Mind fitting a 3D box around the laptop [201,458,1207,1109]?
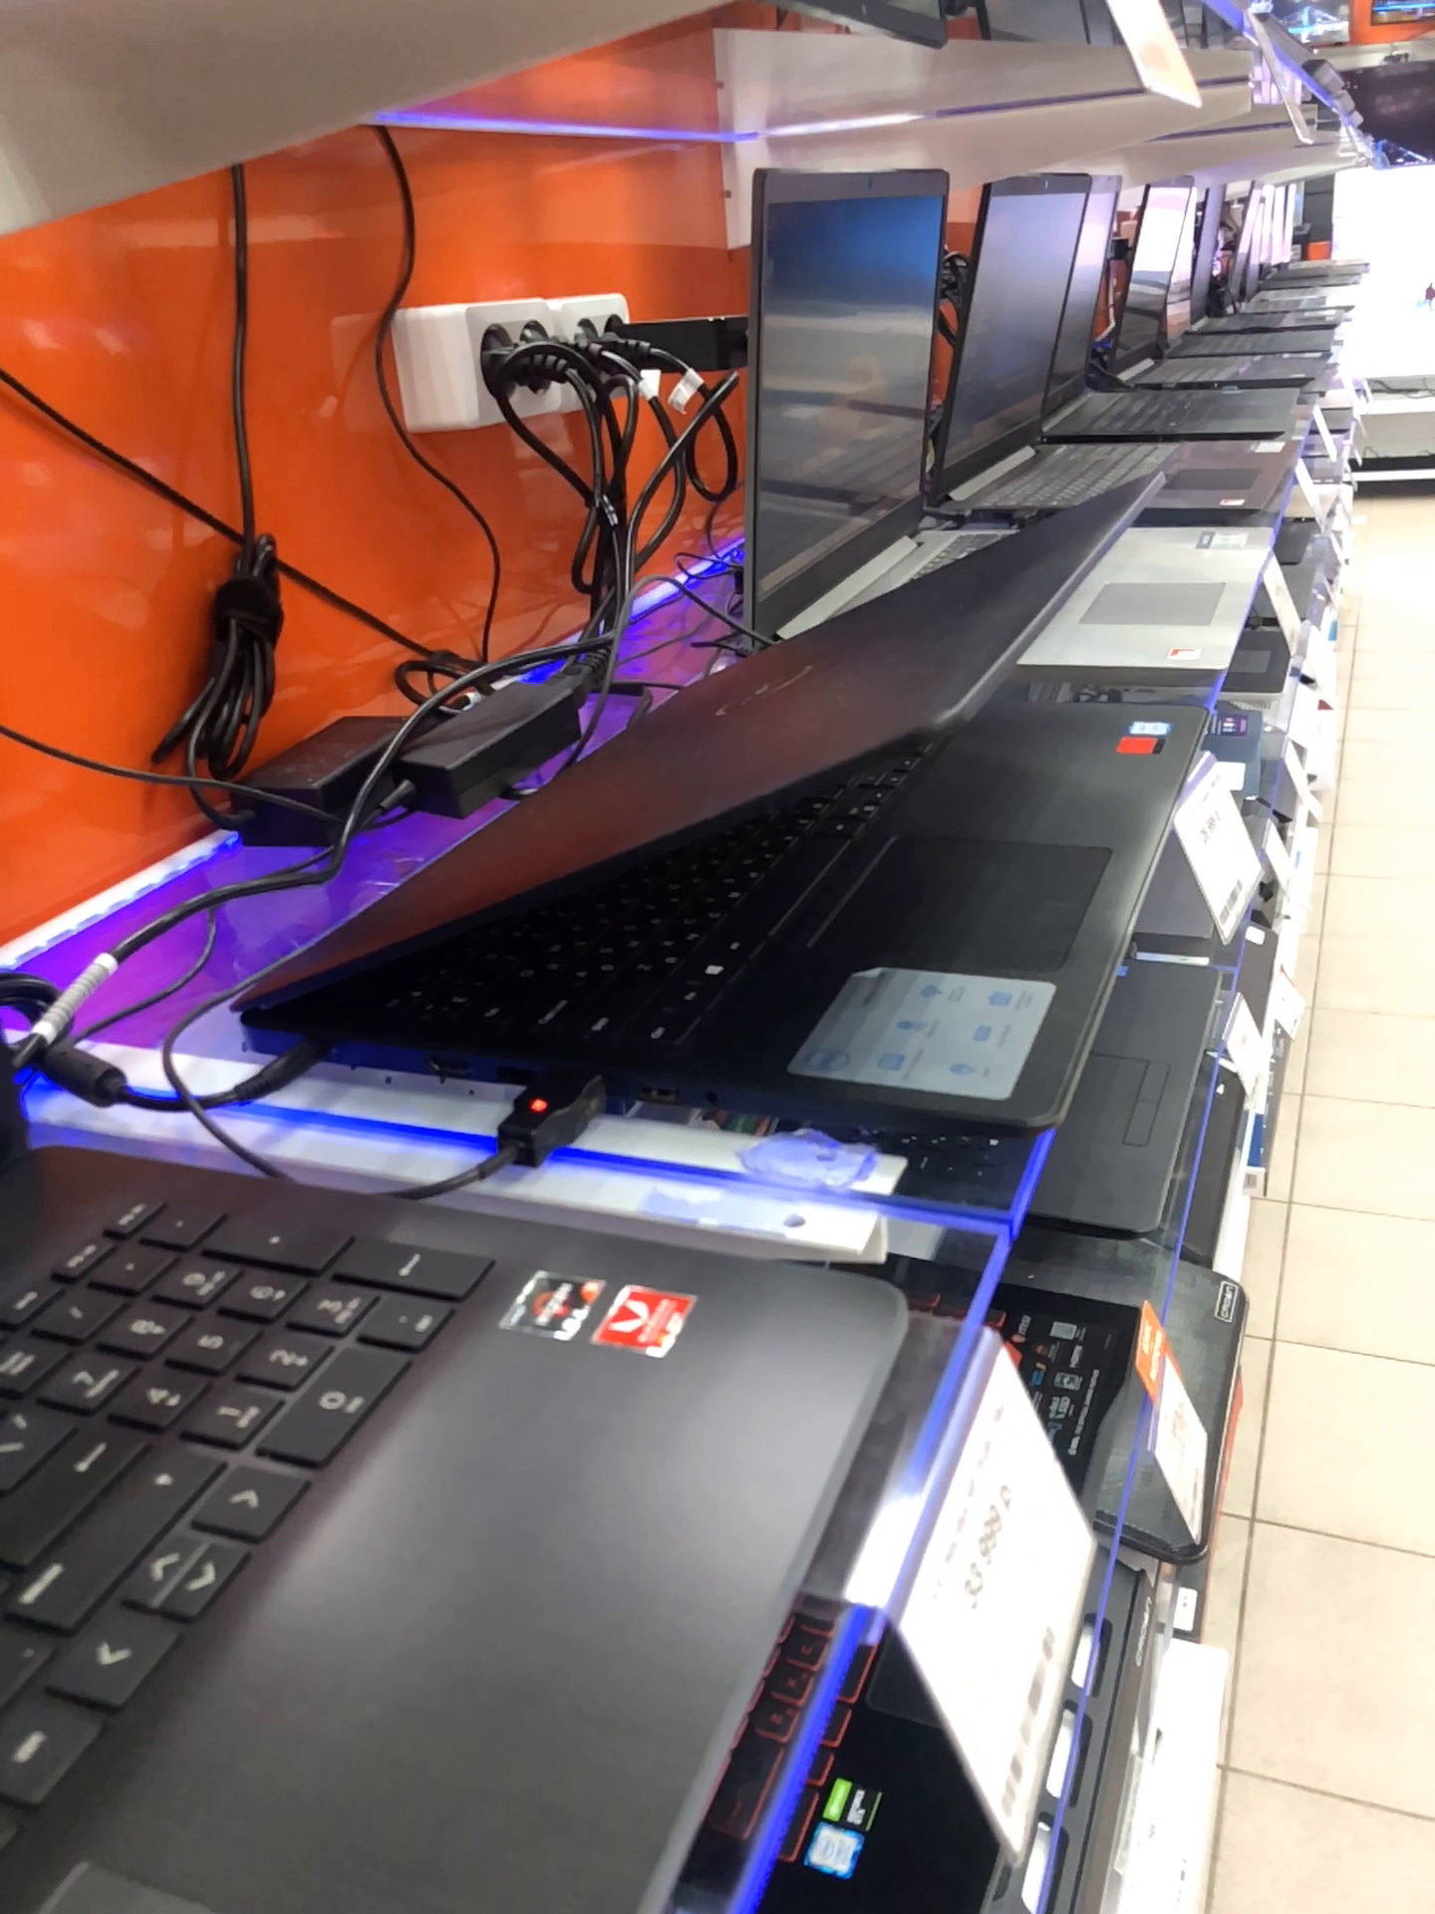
[{"bbox_3d":[0.035,-0.096,0.571,0.238,0.100,0.373,5,26,21],"label":"laptop"}]
